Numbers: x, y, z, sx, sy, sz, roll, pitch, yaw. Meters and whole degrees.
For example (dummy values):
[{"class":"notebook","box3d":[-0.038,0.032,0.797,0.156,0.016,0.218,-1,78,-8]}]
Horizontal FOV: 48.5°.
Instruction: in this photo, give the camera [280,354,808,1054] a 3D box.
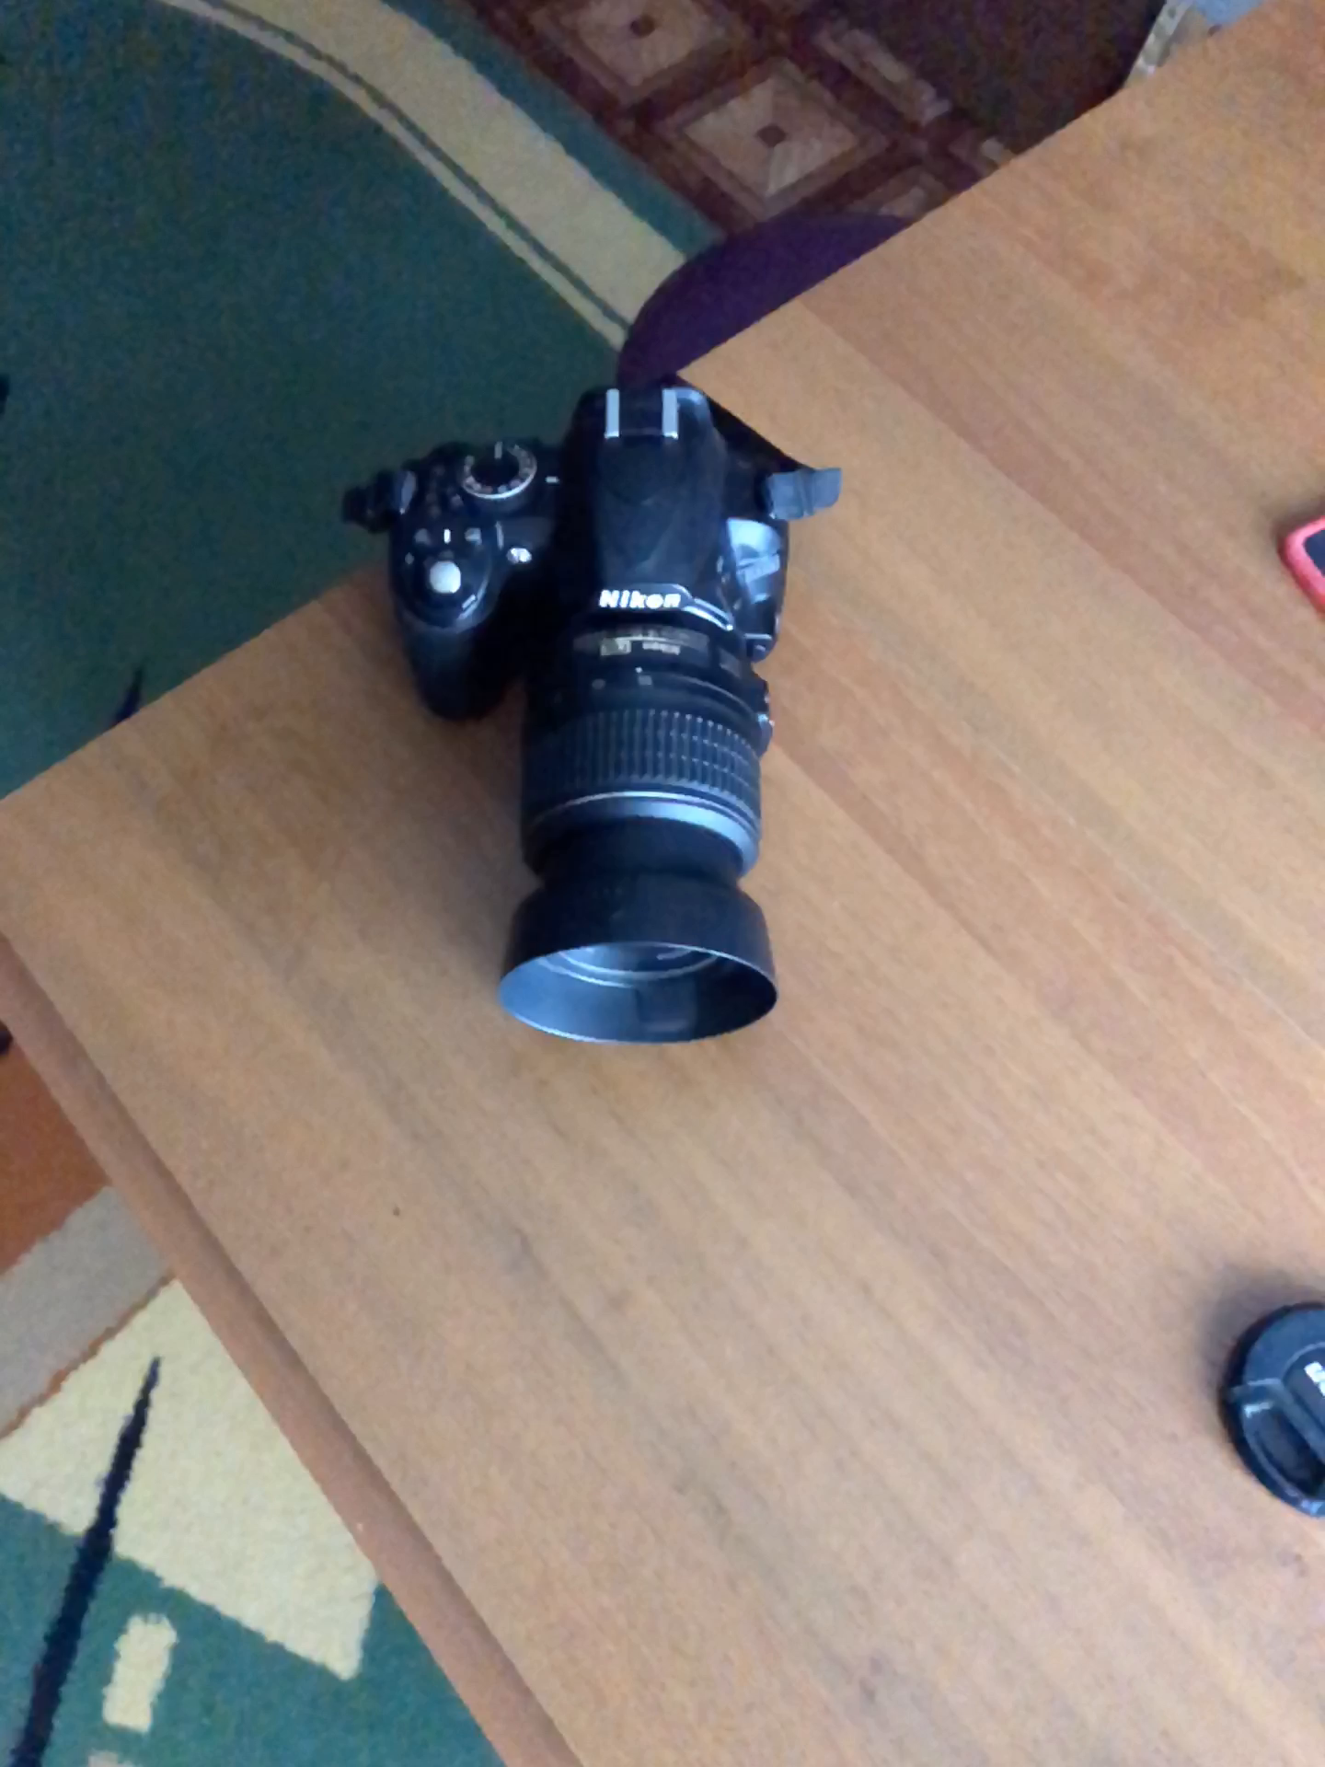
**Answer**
[{"class":"camera","box3d":[-0.025,-0.054,0.442,0.129,0.092,0.183,2,65,2]}]
